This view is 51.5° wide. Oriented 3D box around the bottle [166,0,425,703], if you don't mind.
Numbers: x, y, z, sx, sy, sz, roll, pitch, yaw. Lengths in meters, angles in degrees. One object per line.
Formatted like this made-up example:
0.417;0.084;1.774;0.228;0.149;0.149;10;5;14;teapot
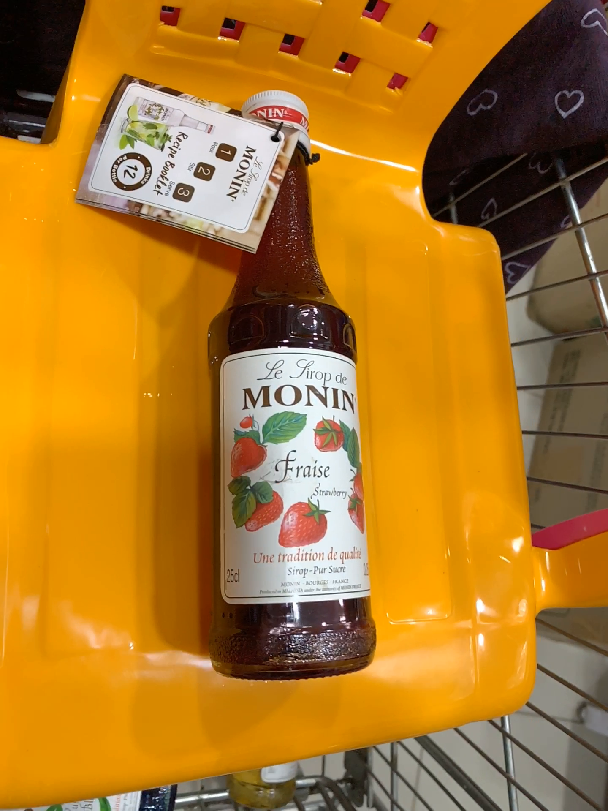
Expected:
-0.011;-0.026;0.225;0.060;0.060;0.230;5;71;-24;bottle
